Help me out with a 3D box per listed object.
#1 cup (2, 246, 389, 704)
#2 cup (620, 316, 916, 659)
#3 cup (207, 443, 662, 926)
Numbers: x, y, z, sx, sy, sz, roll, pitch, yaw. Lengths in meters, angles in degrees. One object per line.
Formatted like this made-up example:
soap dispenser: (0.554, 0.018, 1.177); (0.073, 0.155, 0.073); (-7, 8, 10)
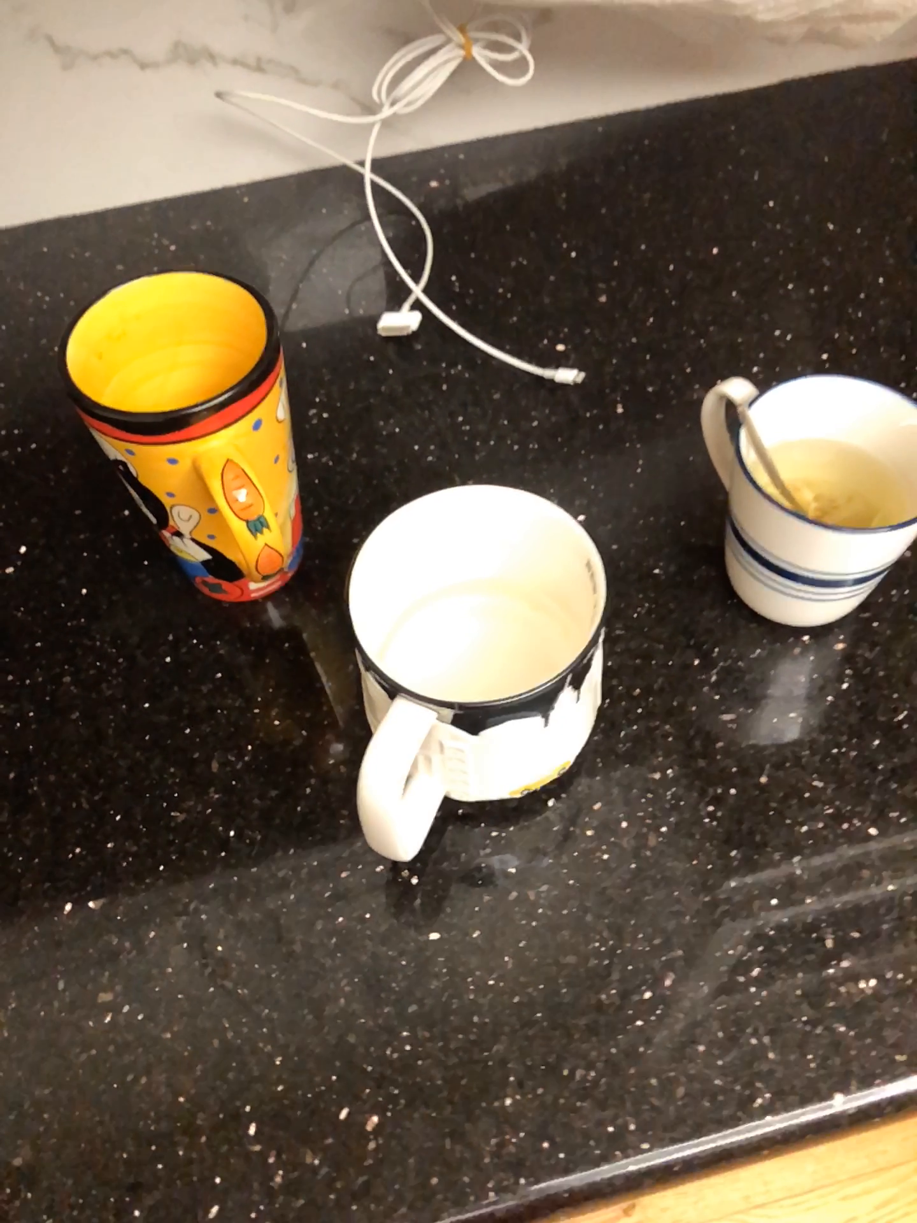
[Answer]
cup: (-0.114, -0.063, 0.449); (0.100, 0.100, 0.150); (-26, 58, -14)
cup: (0.147, -0.058, 0.452); (0.090, 0.060, 0.120); (-27, 59, -15)
cup: (-0.004, 0.025, 0.405); (0.110, 0.080, 0.140); (26, 61, 19)
